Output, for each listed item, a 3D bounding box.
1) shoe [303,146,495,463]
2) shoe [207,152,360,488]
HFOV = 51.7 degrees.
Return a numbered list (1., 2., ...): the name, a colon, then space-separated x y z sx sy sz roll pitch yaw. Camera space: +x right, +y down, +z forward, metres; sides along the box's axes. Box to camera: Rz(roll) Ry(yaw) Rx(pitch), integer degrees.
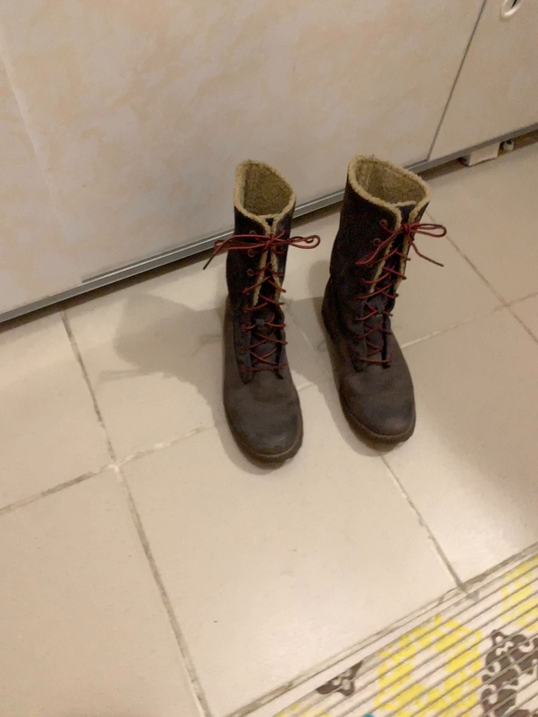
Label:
1. shoe: 0.129 -0.054 0.677 0.100 0.249 0.281 -11 63 -5
2. shoe: -0.007 -0.036 0.627 0.100 0.249 0.281 -3 58 -10
